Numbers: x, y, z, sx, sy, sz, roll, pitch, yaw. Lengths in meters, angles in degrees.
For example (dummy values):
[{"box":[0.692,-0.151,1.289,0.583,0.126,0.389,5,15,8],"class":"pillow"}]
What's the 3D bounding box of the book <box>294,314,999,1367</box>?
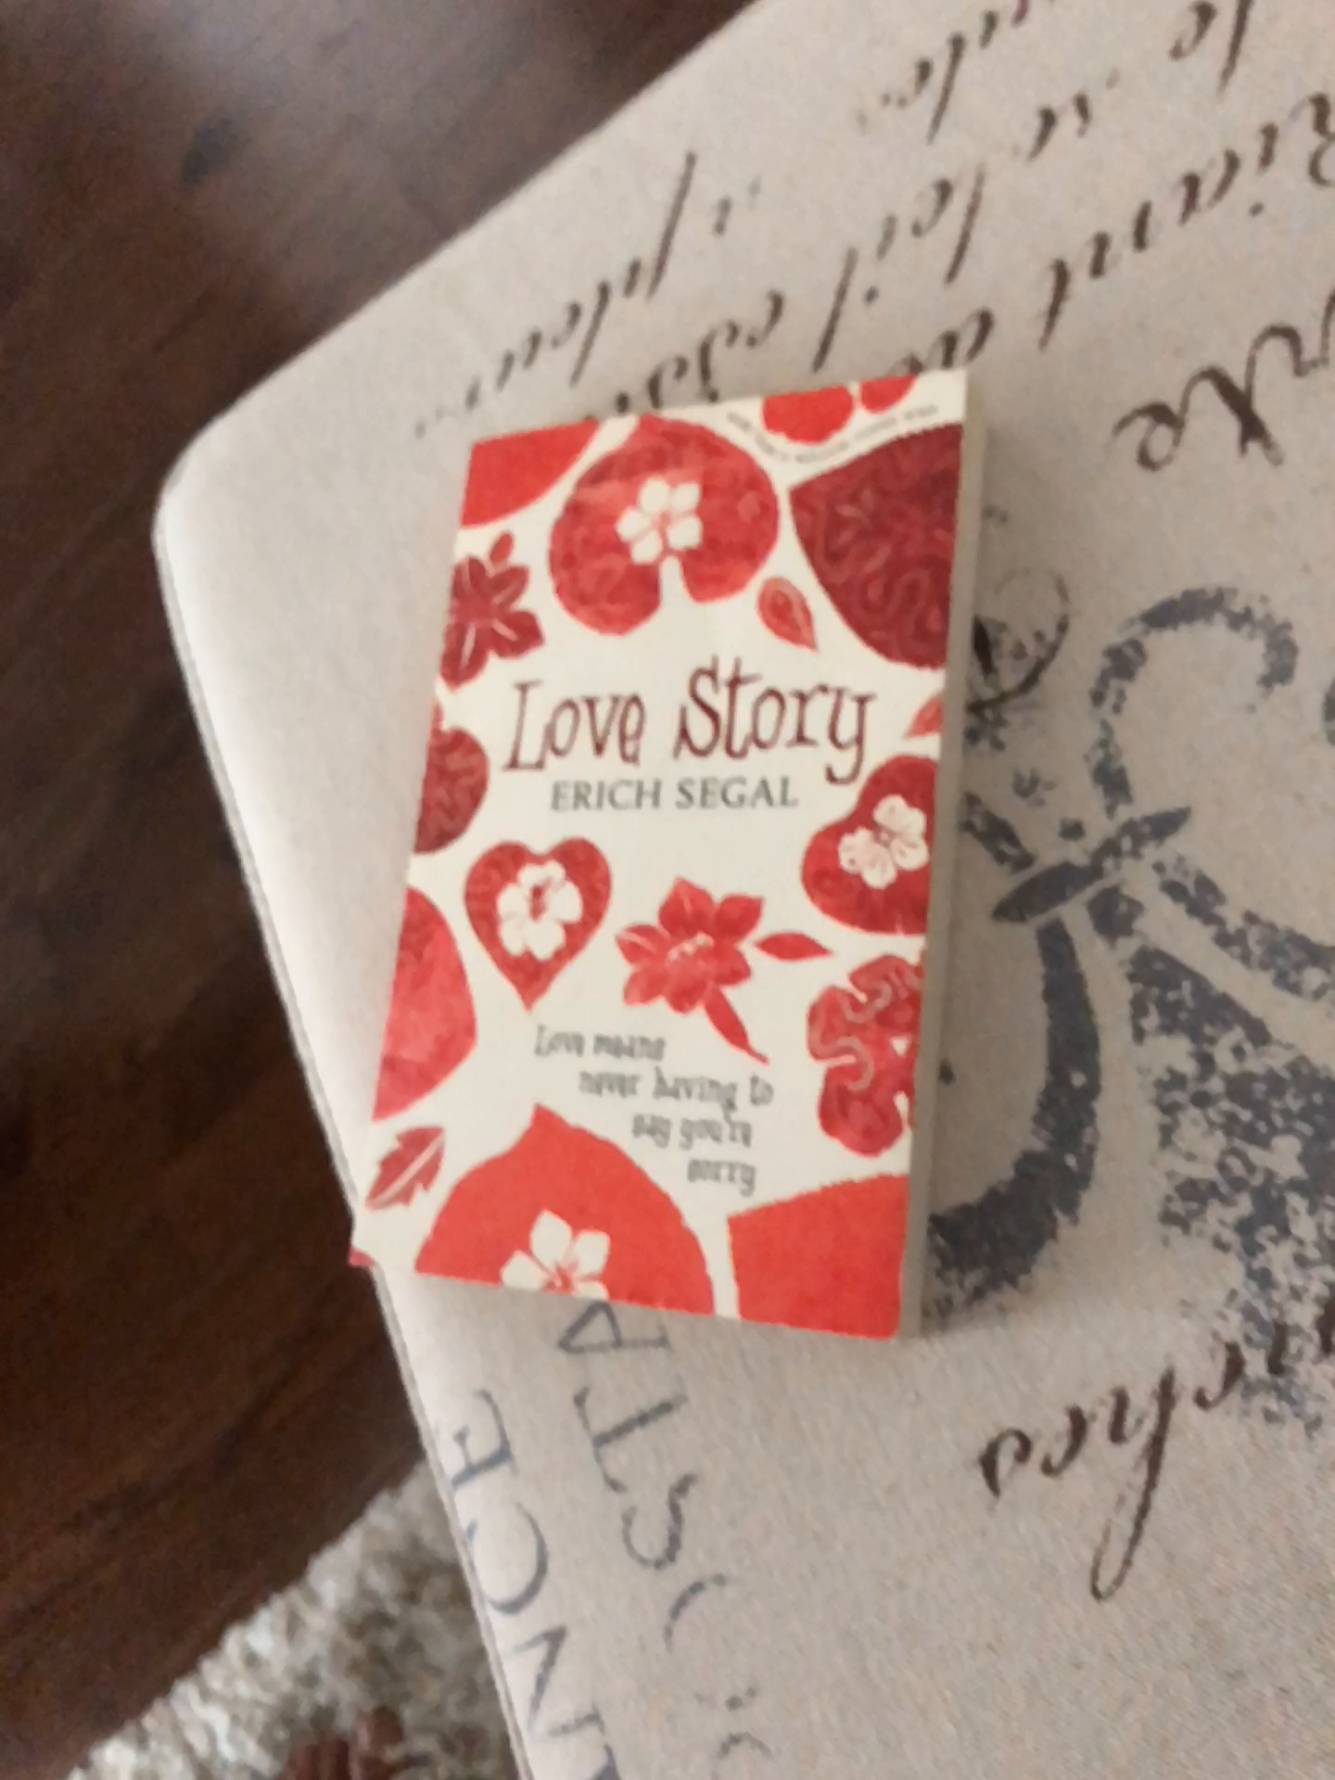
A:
[{"box":[-0.003,-0.013,0.292,0.120,0.020,0.188,0,76,24],"class":"book"}]
